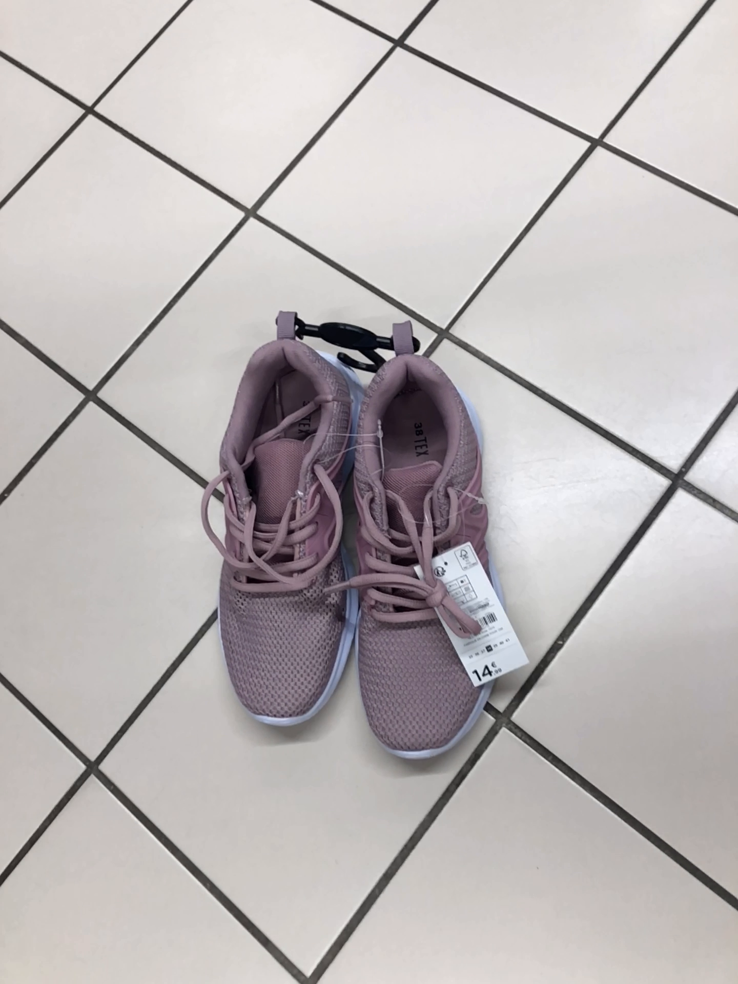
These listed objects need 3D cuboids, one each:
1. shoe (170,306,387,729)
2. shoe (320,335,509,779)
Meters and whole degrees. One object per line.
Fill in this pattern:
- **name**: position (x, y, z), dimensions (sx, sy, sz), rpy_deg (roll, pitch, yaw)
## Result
- **shoe**: position (-0.050, 0.018, 0.537), dimensions (0.100, 0.093, 0.260), rpy_deg (0, 73, 10)
- **shoe**: position (0.035, 0.042, 0.522), dimensions (0.102, 0.100, 0.260), rpy_deg (-1, 73, 9)
